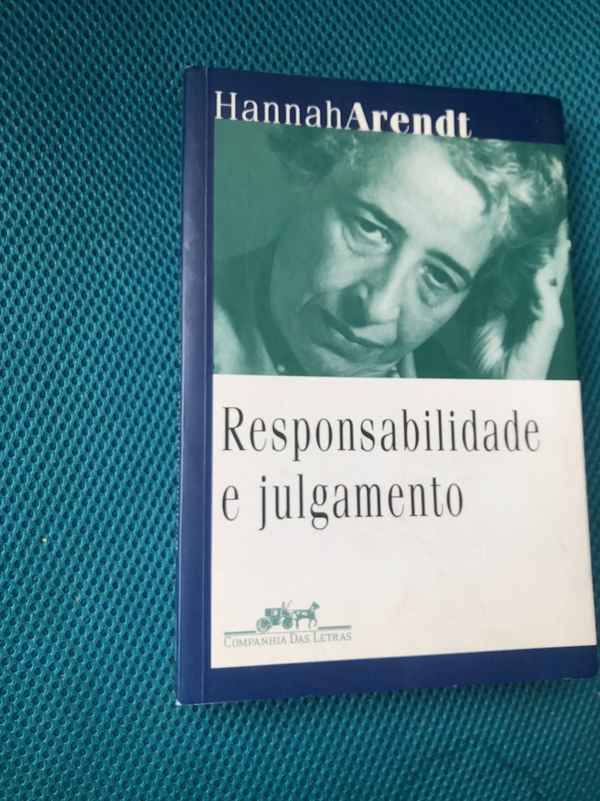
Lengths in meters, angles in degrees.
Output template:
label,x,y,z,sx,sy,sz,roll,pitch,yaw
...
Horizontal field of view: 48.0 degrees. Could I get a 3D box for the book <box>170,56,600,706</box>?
label,x,y,z,sx,sy,sz,roll,pitch,yaw
book,0.028,-0.010,0.242,0.142,0.035,0.209,1,83,-9
